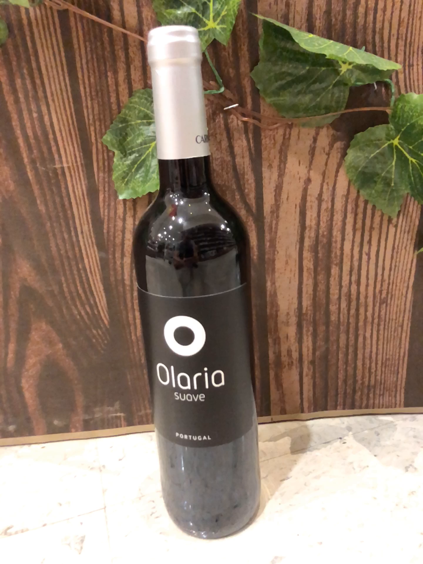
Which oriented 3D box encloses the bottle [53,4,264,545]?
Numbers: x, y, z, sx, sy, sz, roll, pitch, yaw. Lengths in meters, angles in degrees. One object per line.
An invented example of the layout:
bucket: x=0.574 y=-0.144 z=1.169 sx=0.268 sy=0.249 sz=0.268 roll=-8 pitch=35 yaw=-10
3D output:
bottle: x=-0.014 y=0.011 z=0.287 sx=0.080 sy=0.298 sz=0.080 roll=-4 pitch=19 yaw=1
